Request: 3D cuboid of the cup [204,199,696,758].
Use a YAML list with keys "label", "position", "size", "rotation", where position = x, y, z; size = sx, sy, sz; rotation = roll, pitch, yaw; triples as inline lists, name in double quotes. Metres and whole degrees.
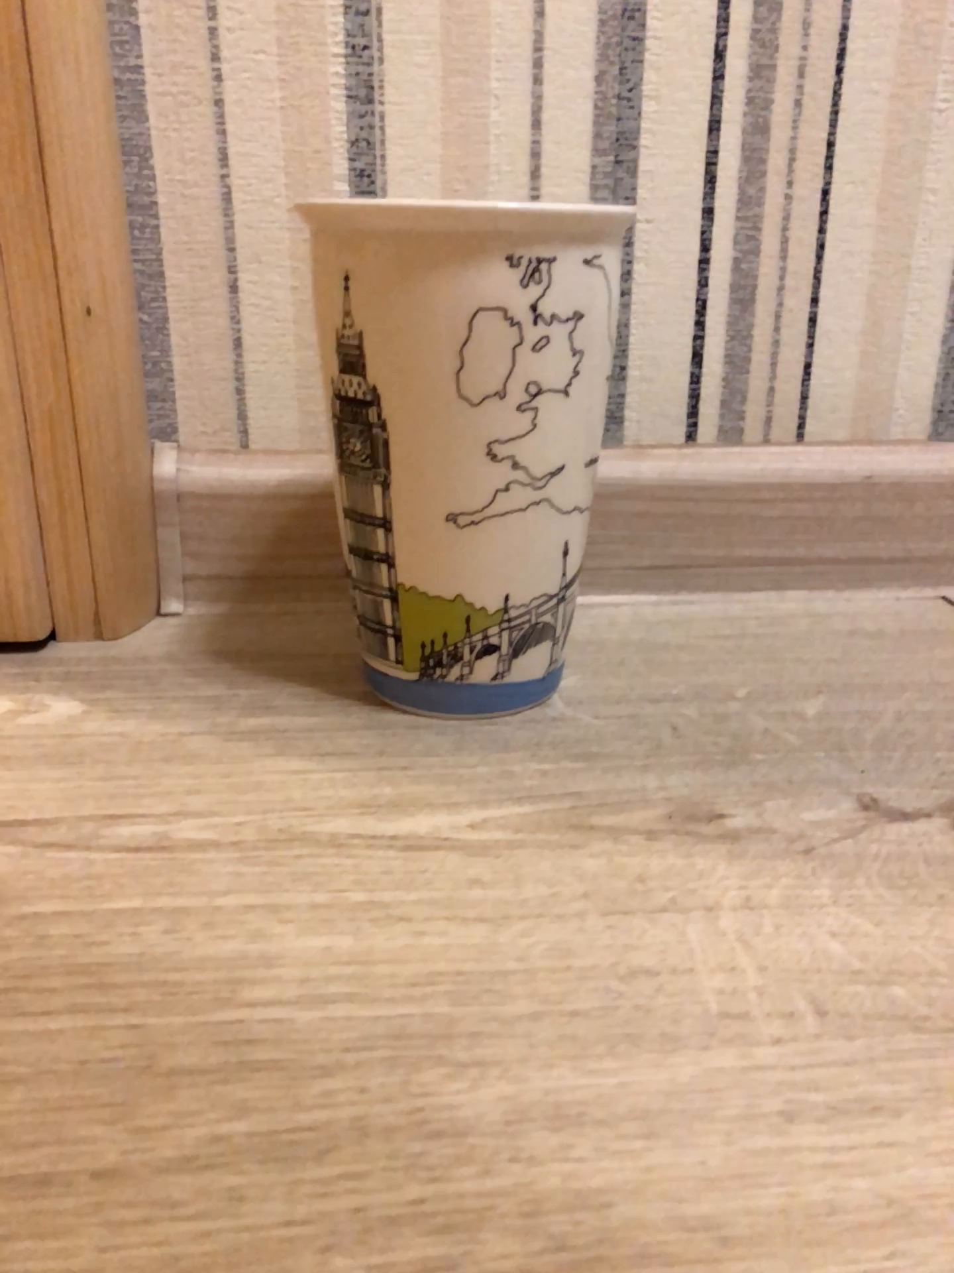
- label: "cup"
  position: [-0.010, -0.055, 0.311]
  size: [0.097, 0.133, 0.096]
  rotation: [0, 21, 0]
